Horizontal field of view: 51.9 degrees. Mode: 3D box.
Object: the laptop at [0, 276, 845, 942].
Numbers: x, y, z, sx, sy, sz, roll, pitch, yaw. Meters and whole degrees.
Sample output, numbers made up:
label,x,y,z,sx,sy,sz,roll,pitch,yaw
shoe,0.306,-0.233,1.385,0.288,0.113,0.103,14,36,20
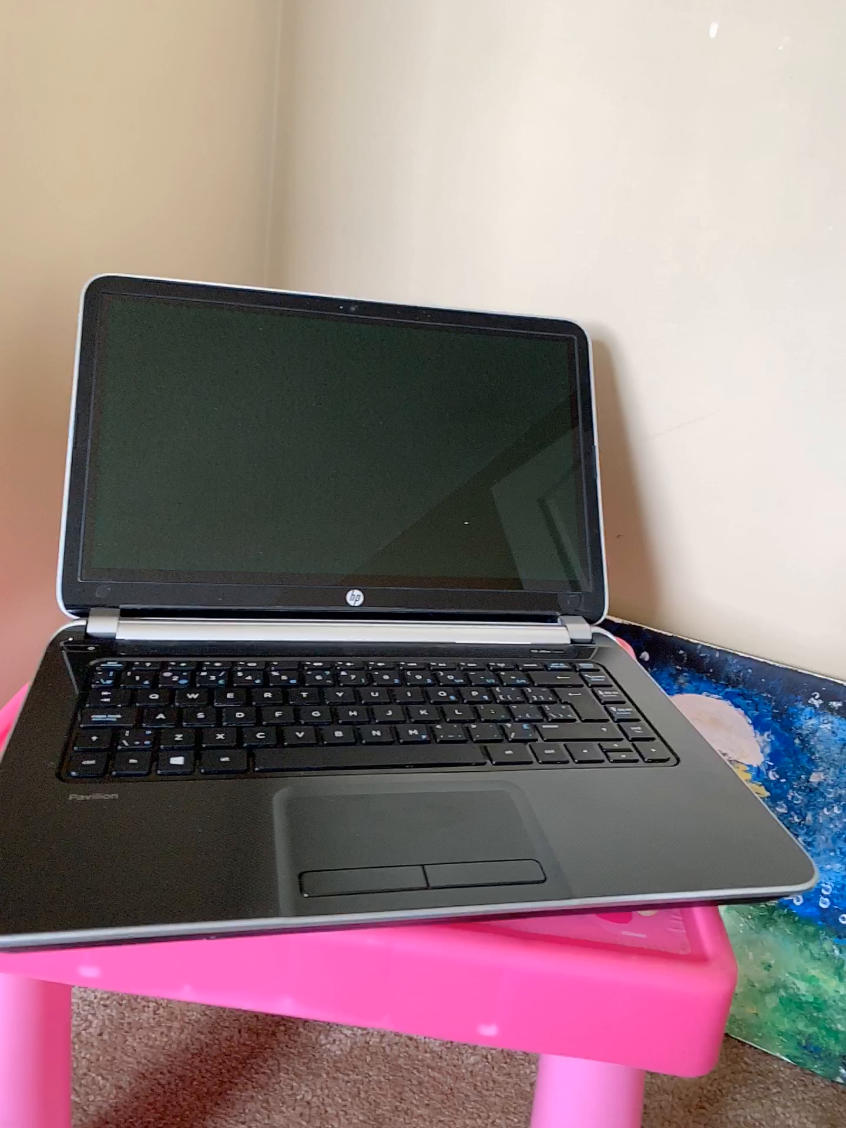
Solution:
label,x,y,z,sx,sy,sz,roll,pitch,yaw
laptop,-0.011,-0.014,0.384,0.274,0.161,0.272,1,23,-14
